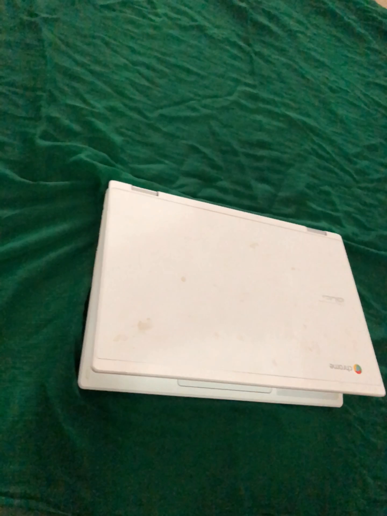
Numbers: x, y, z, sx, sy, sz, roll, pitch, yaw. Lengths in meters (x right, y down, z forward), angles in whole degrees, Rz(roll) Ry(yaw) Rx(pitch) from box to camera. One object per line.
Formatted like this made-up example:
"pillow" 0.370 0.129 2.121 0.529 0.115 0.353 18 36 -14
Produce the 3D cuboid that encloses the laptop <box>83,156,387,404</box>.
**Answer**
"laptop" 0.055 0.033 0.422 0.281 0.065 0.193 11 70 -18
